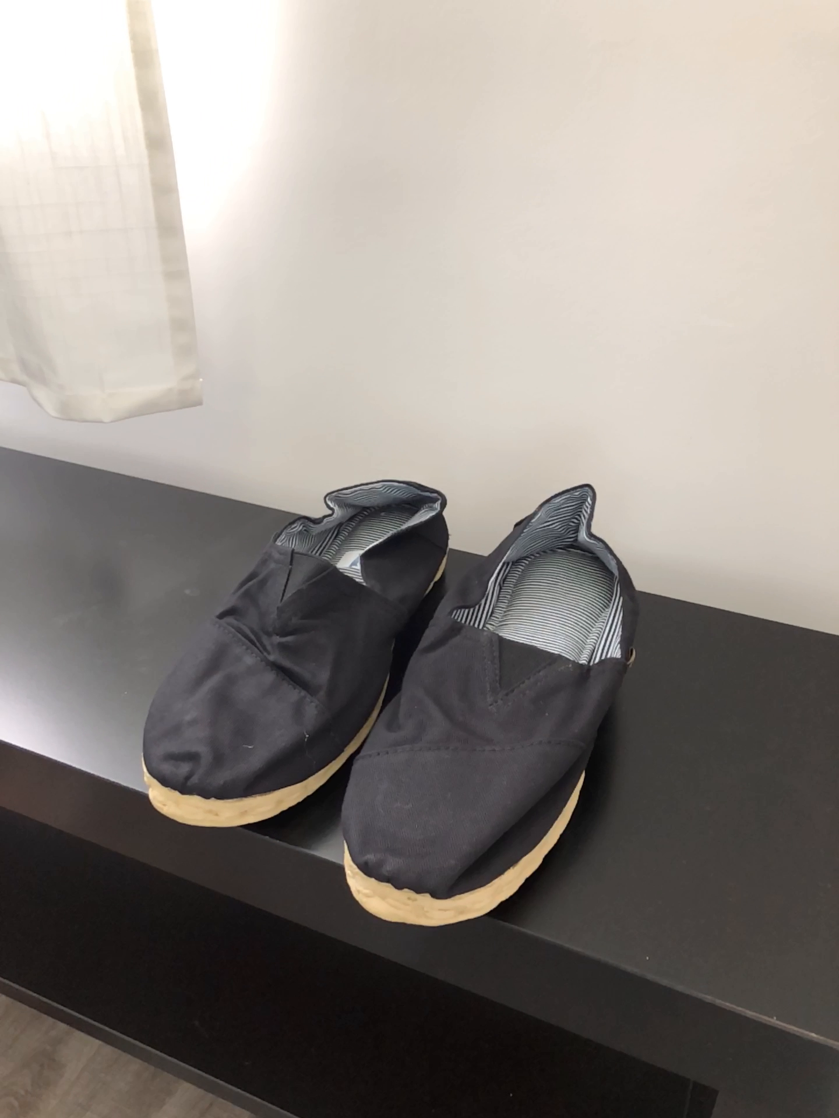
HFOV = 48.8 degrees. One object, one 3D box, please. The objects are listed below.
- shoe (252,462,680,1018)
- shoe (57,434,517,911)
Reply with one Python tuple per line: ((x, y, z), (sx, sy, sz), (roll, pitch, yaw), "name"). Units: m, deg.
((0.041, 0.053, 0.434), (0.101, 0.080, 0.274), (13, 33, 19), "shoe")
((-0.043, 0.032, 0.477), (0.101, 0.080, 0.274), (13, 33, 19), "shoe")
